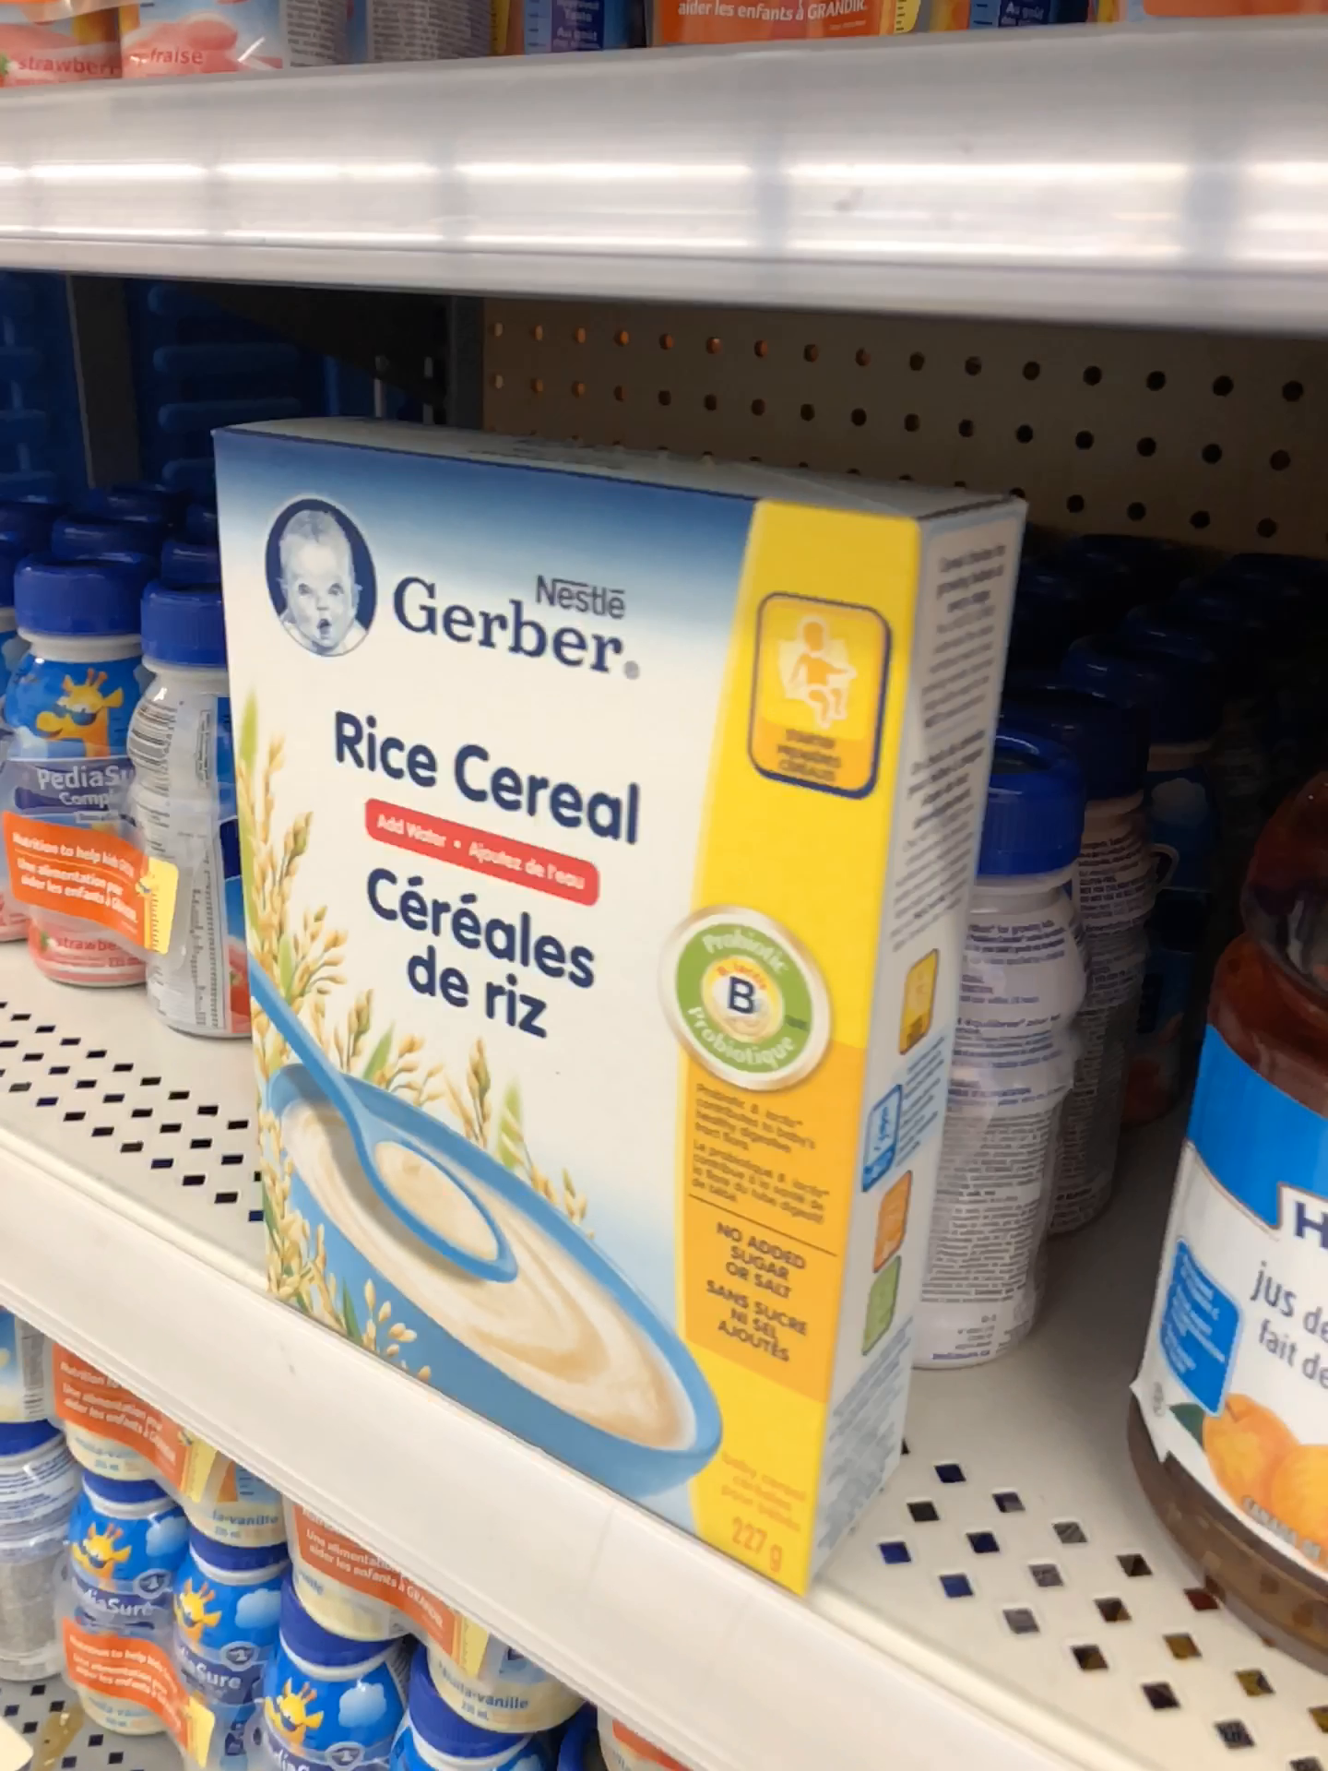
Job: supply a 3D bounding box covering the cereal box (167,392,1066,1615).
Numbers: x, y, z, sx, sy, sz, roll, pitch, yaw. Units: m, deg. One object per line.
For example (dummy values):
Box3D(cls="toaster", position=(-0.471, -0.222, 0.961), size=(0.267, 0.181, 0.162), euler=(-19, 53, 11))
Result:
Box3D(cls="cereal box", position=(-0.018, 0.014, 0.293), size=(0.150, 0.199, 0.060), euler=(17, 26, 30))
